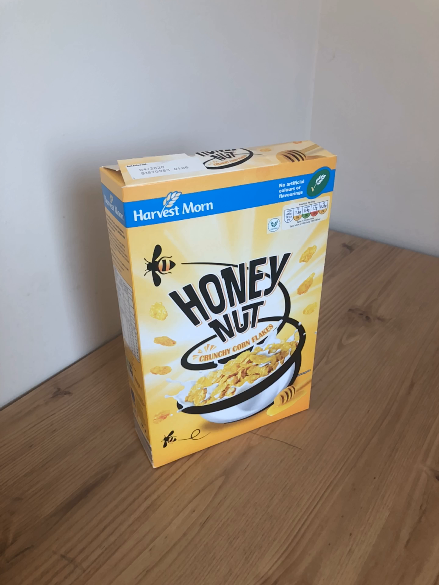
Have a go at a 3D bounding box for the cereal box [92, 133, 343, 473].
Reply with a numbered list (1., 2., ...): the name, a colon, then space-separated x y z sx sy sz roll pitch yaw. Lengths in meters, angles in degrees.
1. cereal box: 0.003 0.014 0.473 0.200 0.298 0.060 -14 32 -22
